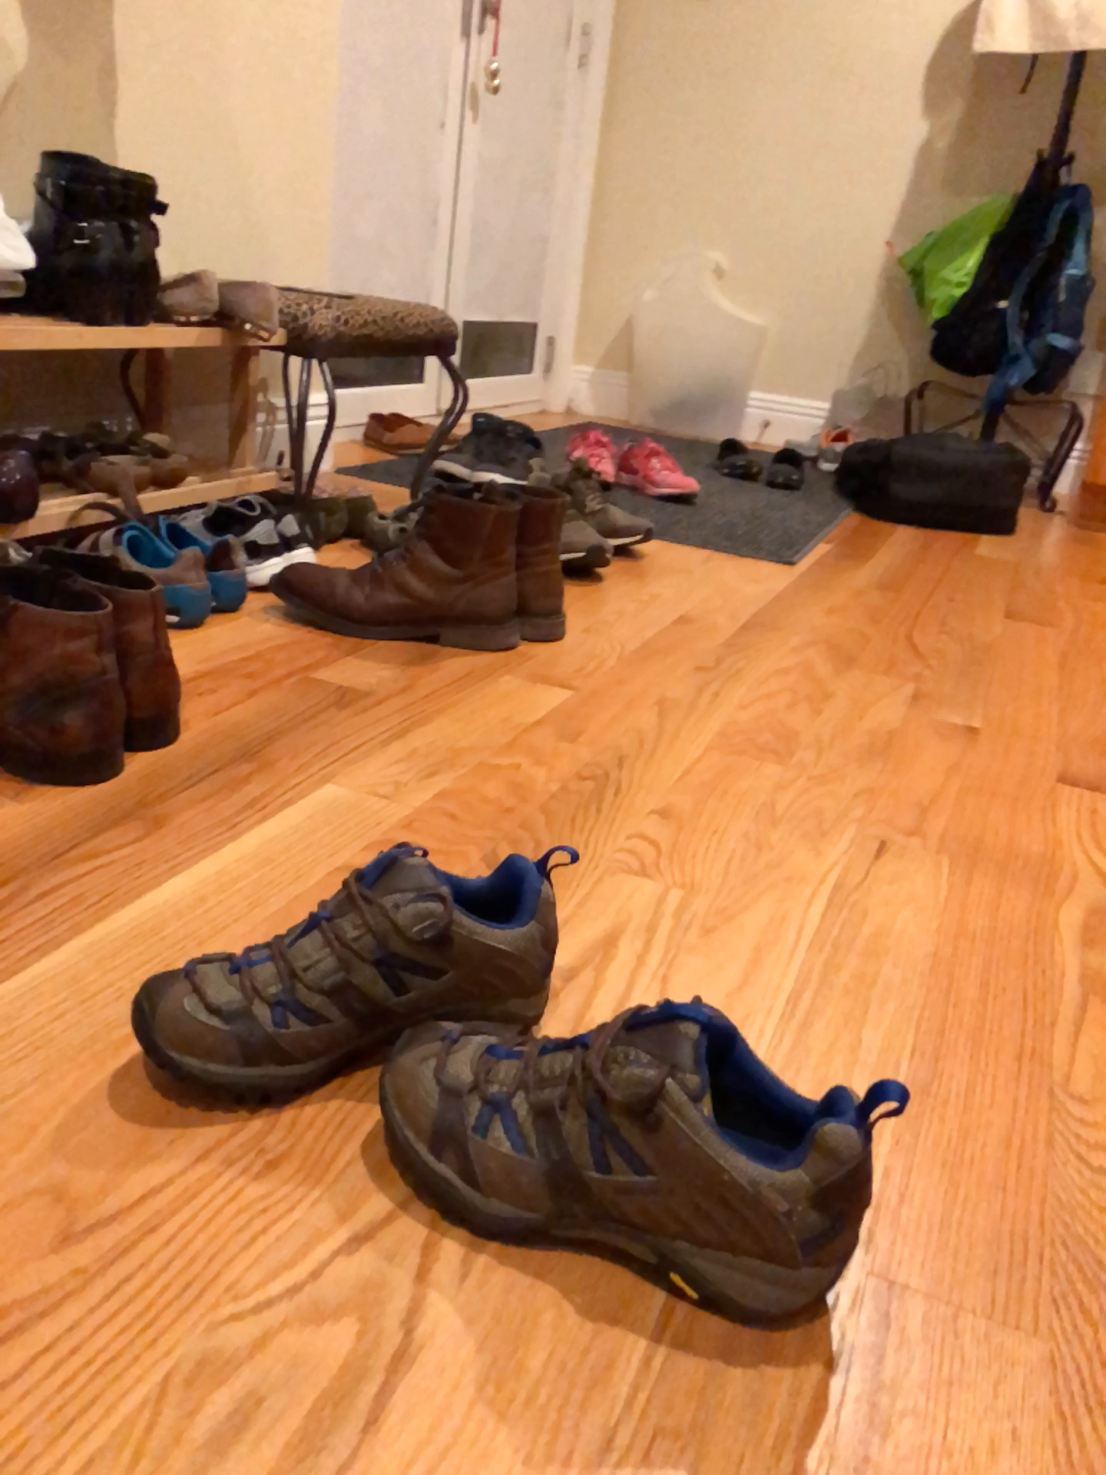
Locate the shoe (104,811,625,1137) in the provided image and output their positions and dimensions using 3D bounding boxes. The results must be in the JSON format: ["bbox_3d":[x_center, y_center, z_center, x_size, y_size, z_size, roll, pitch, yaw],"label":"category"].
[{"bbox_3d":[-0.099,0.116,0.648,0.252,0.094,0.097,-5,24,-29],"label":"shoe"}]

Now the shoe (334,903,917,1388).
[{"bbox_3d":[0.030,0.176,0.560,0.240,0.106,0.095,14,22,19],"label":"shoe"}]
